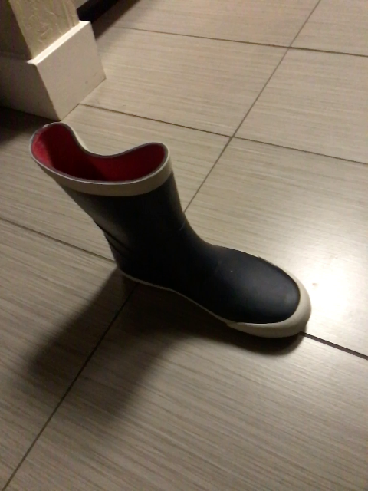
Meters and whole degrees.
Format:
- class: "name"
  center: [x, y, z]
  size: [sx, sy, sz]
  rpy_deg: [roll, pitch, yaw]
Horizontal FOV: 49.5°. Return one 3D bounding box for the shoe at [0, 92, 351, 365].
- class: "shoe"
  center: [-0.008, -0.011, 0.403]
  size: [0.278, 0.217, 0.102]
  rpy_deg: [16, 60, 20]
